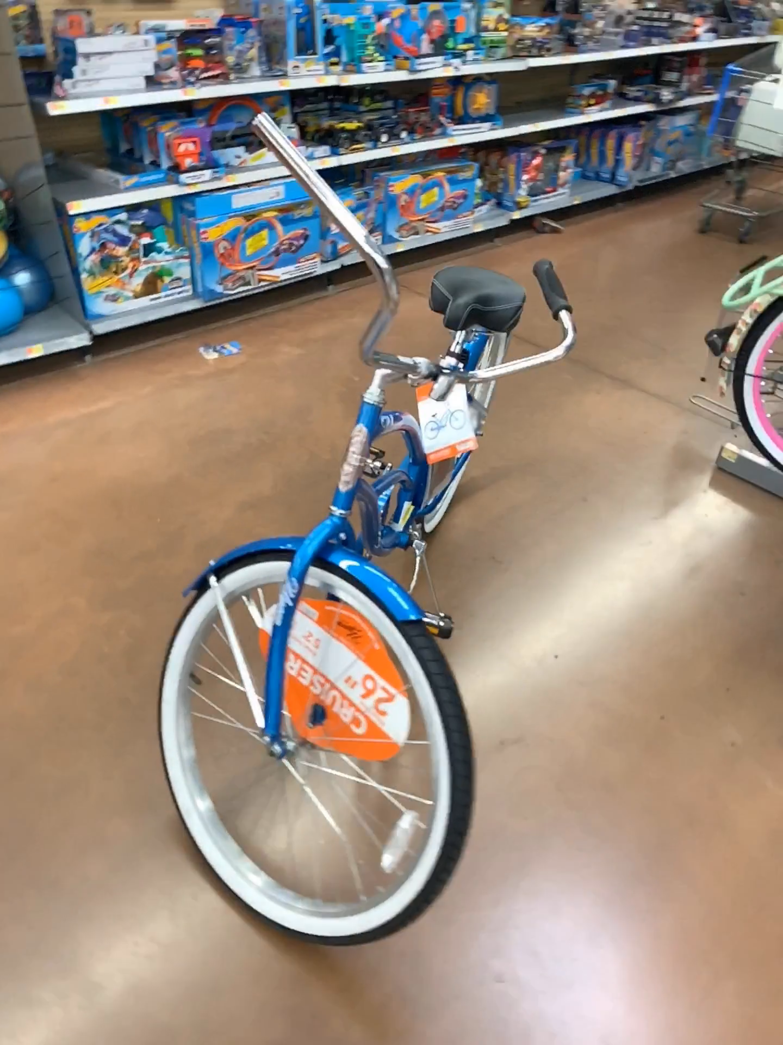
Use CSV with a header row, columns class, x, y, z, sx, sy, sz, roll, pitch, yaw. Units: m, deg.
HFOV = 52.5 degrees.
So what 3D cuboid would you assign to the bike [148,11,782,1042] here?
class,x,y,z,sx,sy,sz,roll,pitch,yaw
bike,0.252,-0.215,1.628,0.873,1.208,1.536,8,38,7
